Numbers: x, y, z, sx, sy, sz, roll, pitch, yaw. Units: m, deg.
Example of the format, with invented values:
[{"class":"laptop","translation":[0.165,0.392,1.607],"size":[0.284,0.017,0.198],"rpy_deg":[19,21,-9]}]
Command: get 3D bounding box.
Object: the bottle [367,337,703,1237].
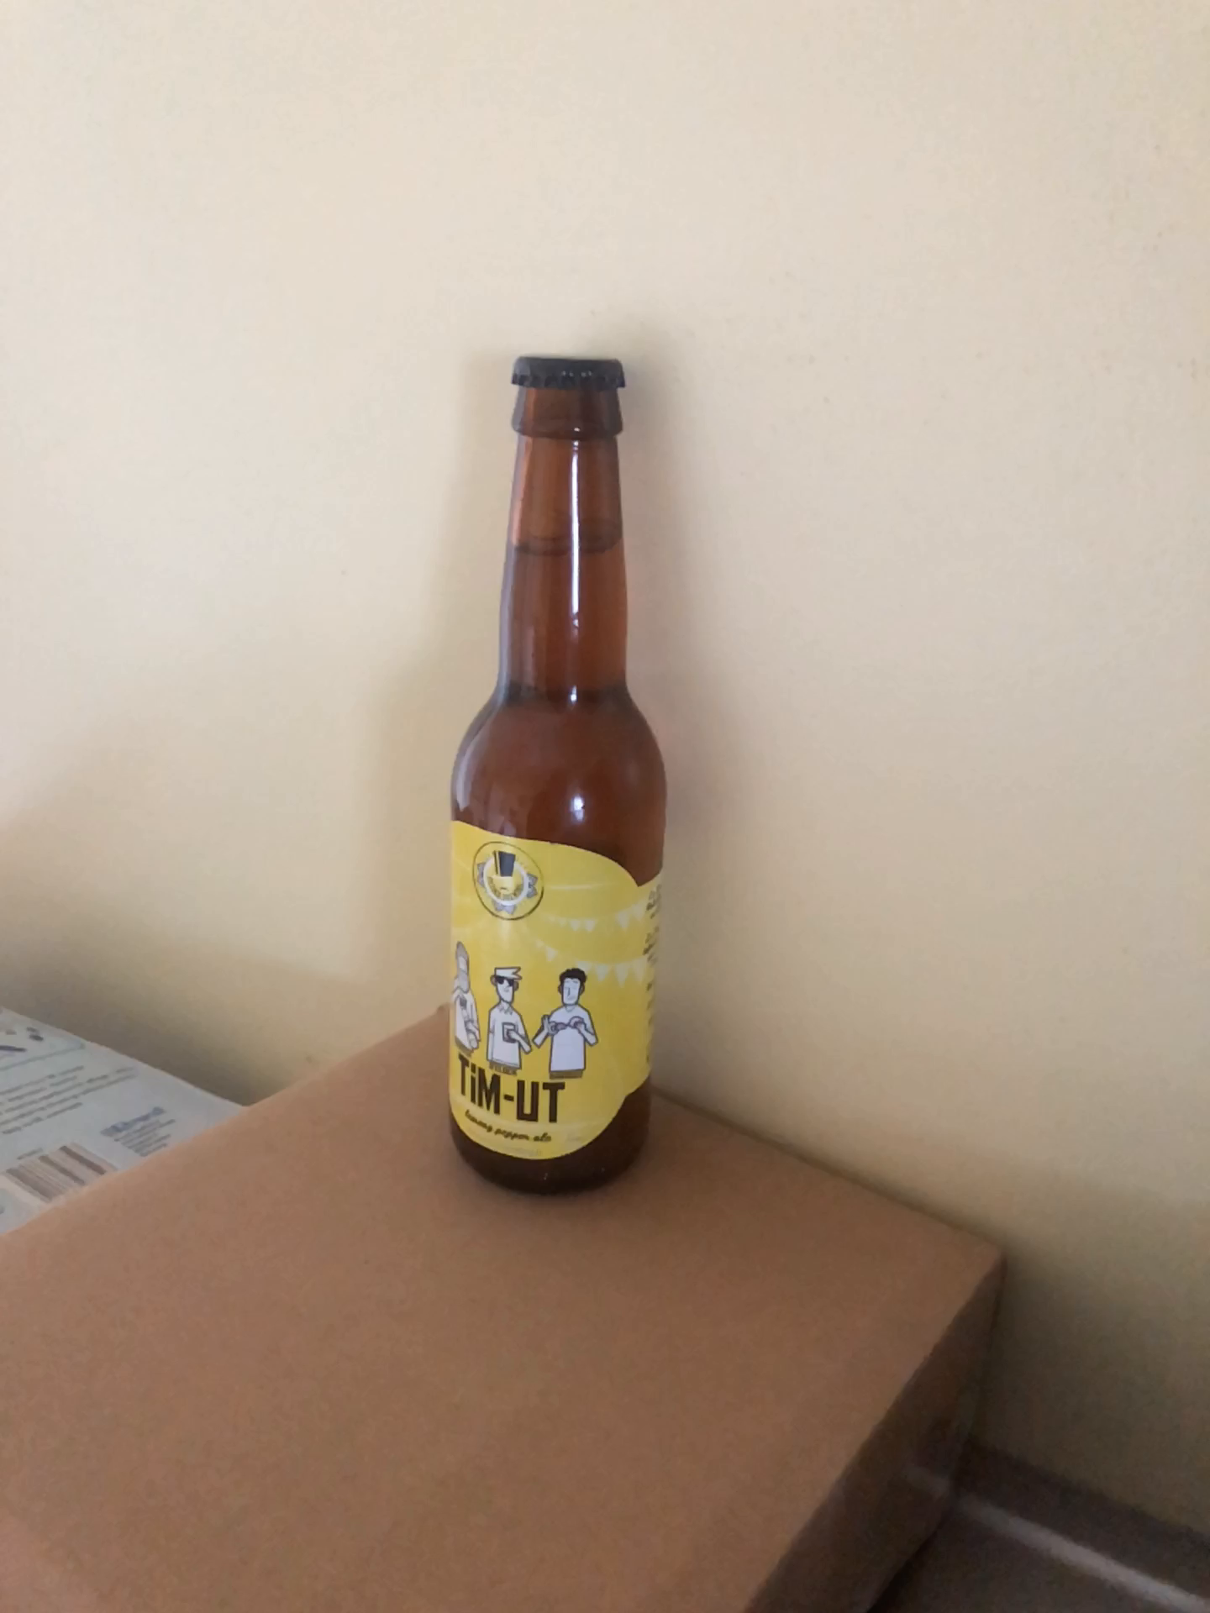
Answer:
[{"class":"bottle","translation":[-0.019,-0.006,0.366],"size":[0.060,0.229,0.060],"rpy_deg":[1,18,0]}]
